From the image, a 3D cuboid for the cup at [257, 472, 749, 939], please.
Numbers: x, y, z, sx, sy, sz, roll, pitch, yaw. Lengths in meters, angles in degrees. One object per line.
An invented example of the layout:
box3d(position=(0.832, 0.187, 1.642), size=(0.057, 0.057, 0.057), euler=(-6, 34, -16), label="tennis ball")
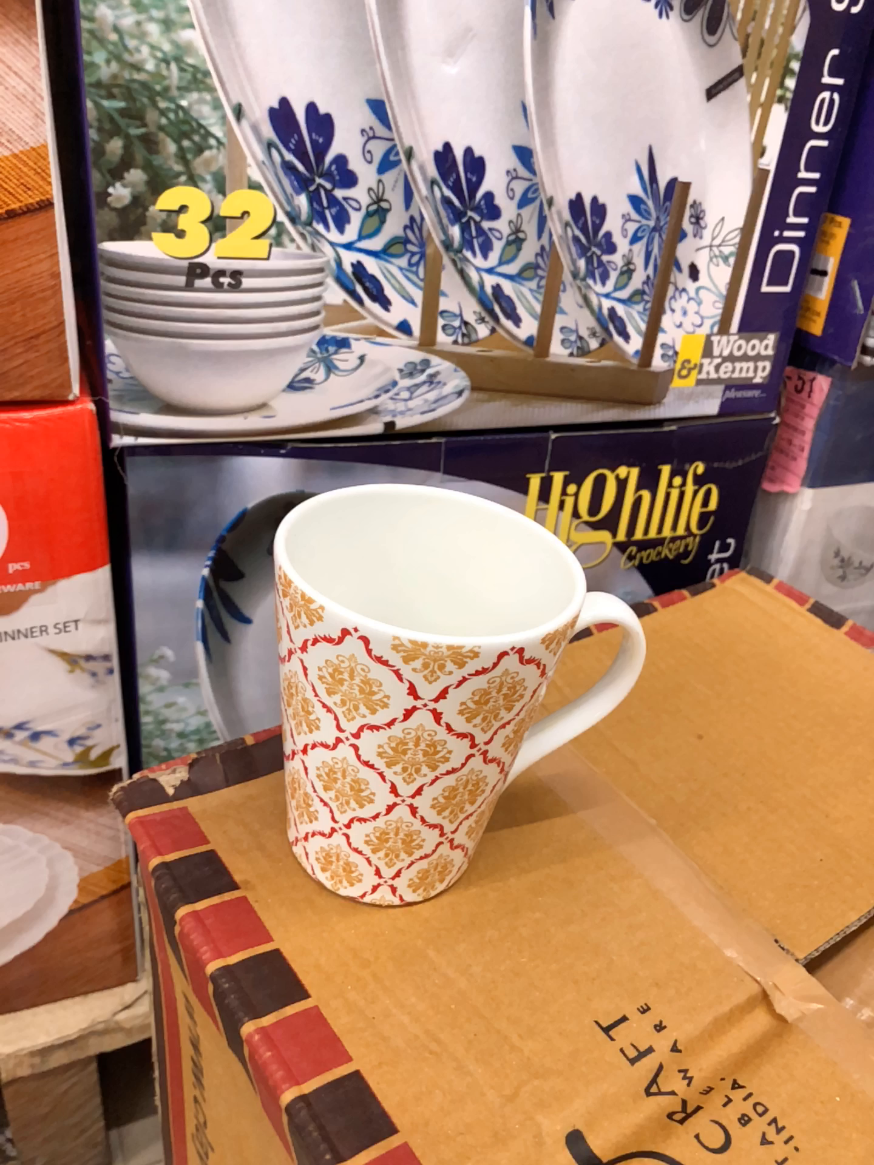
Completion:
box3d(position=(0.007, 0.028, 0.277), size=(0.110, 0.089, 0.090), euler=(-1, 29, -13), label="cup")
